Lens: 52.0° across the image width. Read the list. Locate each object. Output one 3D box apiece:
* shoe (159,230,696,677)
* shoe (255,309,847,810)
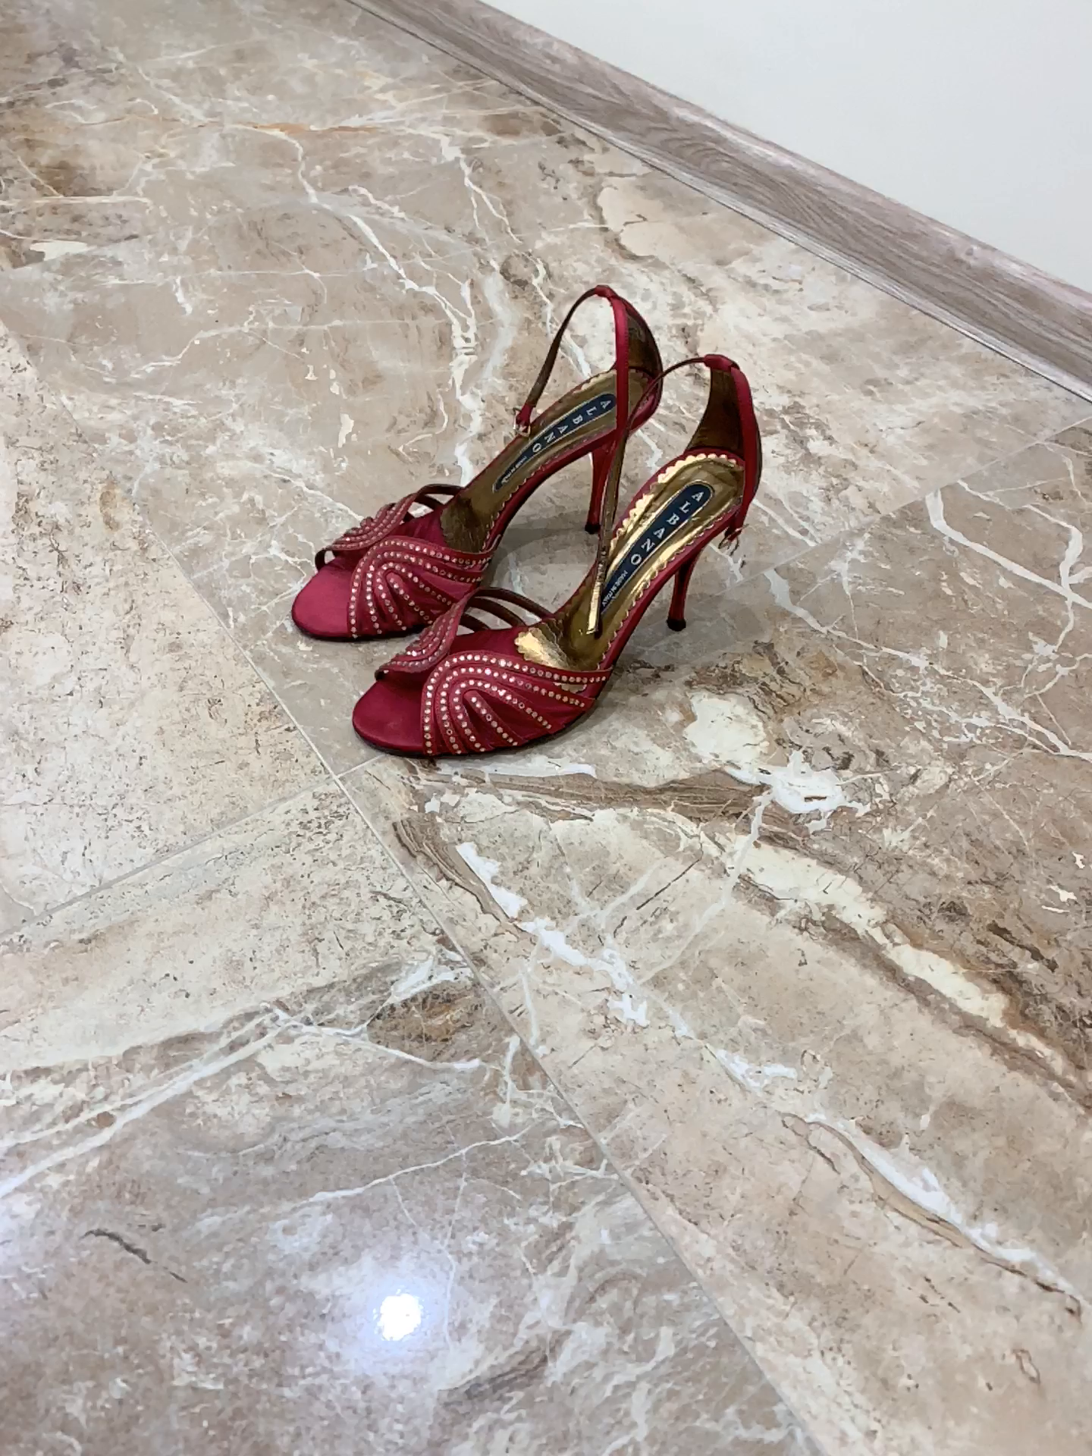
[{"bbox_3d":[-0.052,-0.141,0.563,0.230,0.129,0.090,-24,54,-21],"label":"shoe"},{"bbox_3d":[0.005,-0.080,0.509,0.230,0.129,0.090,-24,54,-21],"label":"shoe"}]
